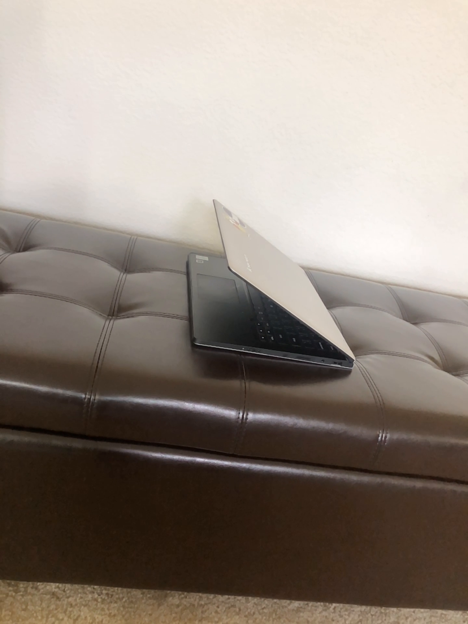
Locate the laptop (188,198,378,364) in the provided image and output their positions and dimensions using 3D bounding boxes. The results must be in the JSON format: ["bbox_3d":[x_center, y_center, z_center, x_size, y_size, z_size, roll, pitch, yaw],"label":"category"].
[{"bbox_3d":[0.045,-0.059,0.733,0.197,0.097,0.294,9,25,-11],"label":"laptop"}]
